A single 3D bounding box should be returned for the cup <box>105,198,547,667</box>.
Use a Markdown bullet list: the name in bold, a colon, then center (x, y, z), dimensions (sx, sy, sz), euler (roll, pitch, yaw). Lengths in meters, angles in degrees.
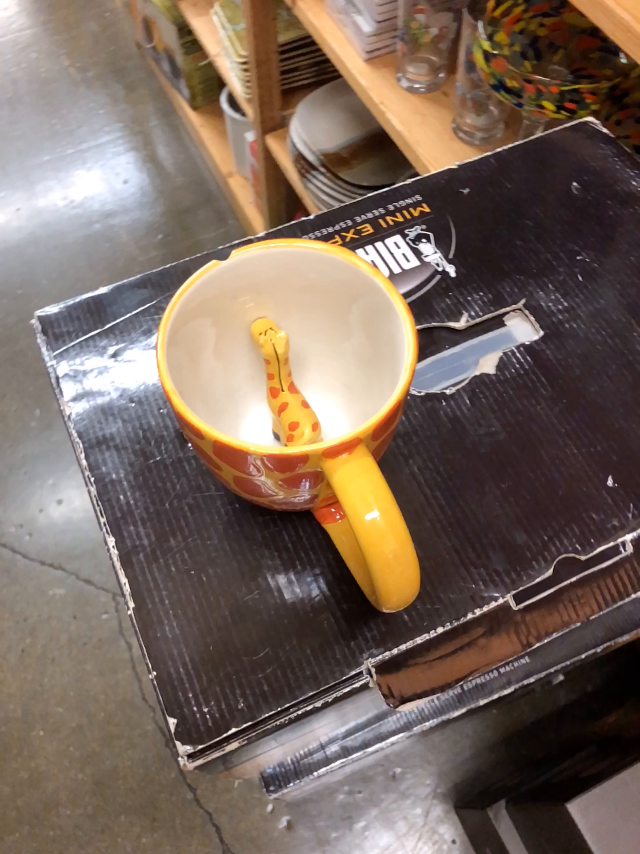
- **cup**: center (-0.004, 0.000, 0.266), dimensions (0.102, 0.067, 0.134), euler (-21, 65, -10)
